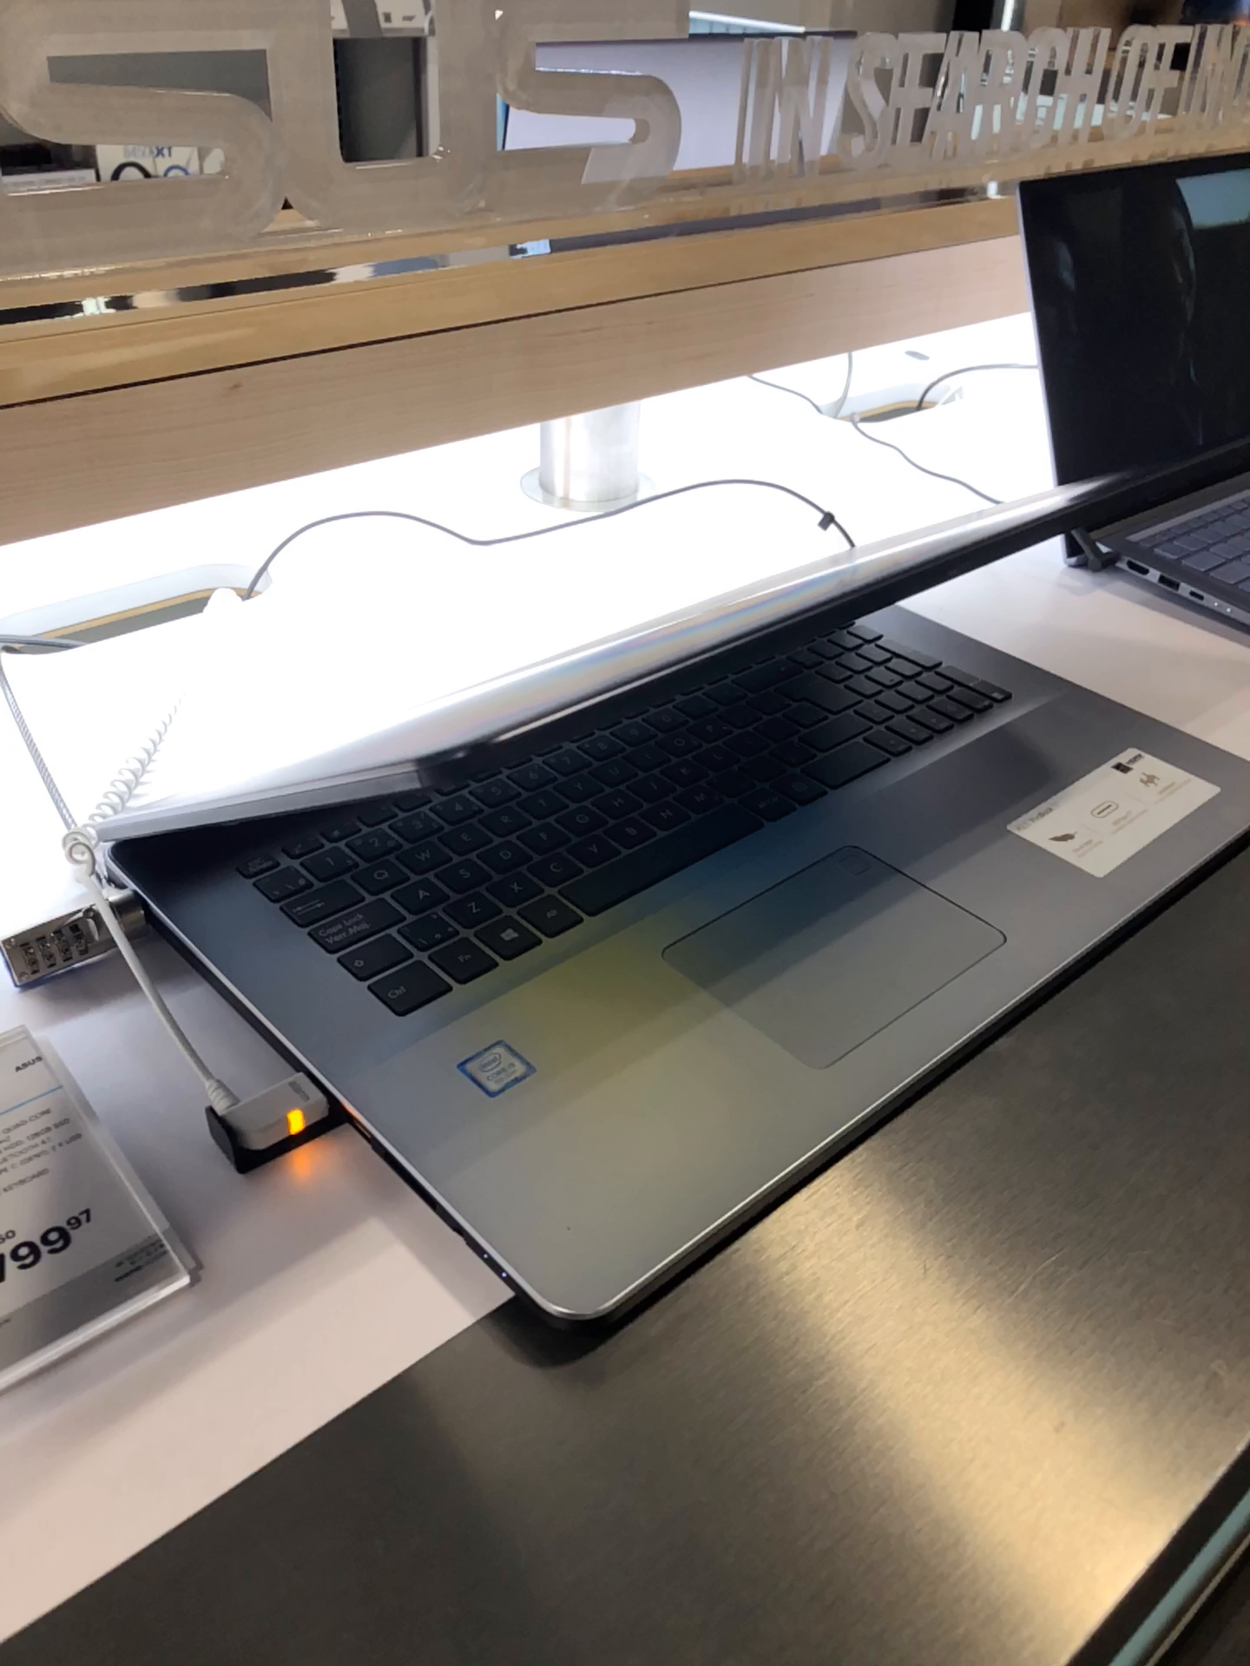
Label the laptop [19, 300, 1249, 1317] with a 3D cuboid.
[{"bbox_3d":[0.040,-0.064,0.502,0.392,0.144,0.260,-26,44,-35],"label":"laptop"}]
